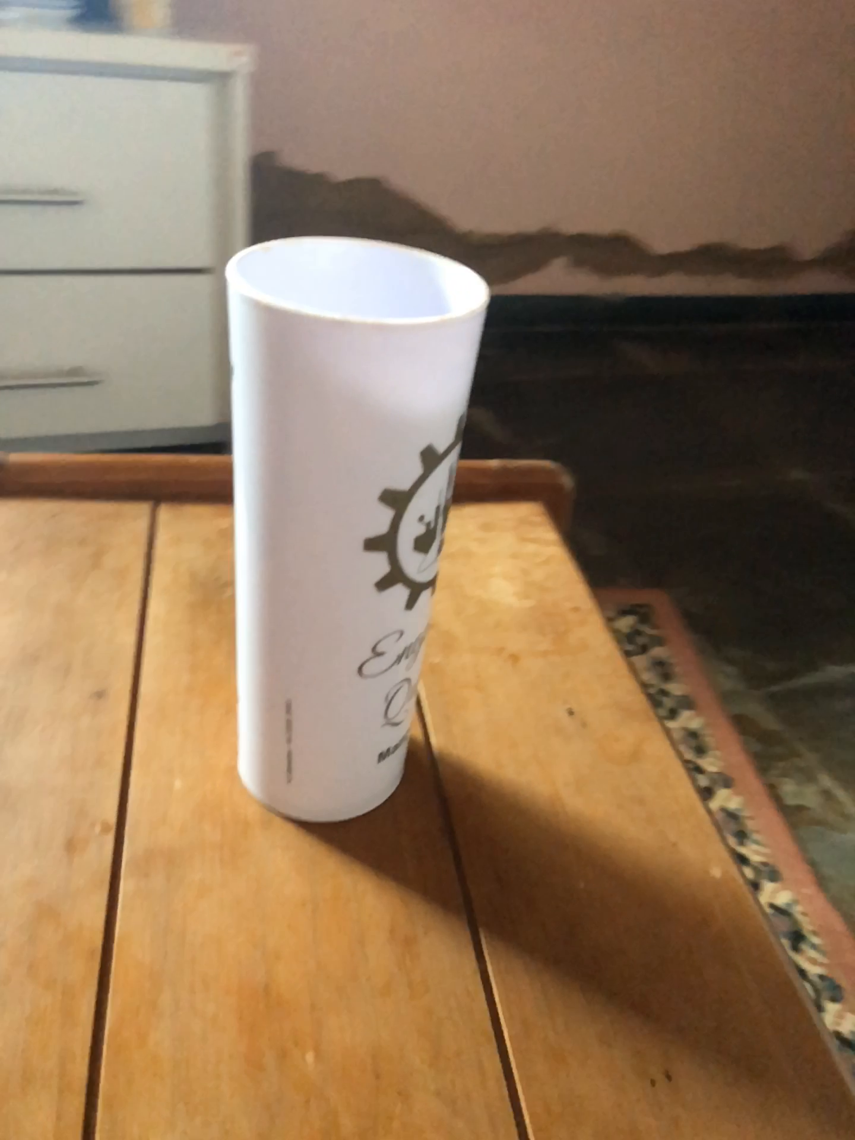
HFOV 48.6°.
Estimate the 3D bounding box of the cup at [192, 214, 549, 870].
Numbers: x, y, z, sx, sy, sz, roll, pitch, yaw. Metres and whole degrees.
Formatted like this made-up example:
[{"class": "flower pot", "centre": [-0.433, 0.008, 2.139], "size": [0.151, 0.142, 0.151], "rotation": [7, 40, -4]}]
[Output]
[{"class": "cup", "centre": [-0.019, -0.002, 0.258], "size": [0.070, 0.159, 0.071], "rotation": [5, 33, -3]}]
